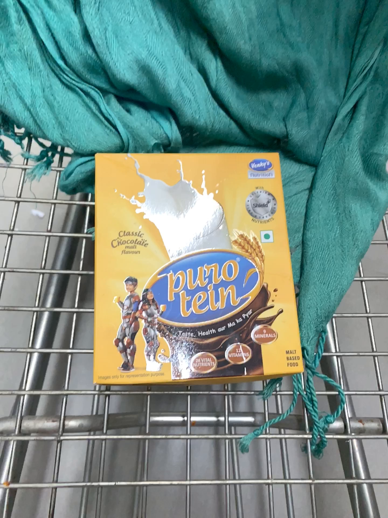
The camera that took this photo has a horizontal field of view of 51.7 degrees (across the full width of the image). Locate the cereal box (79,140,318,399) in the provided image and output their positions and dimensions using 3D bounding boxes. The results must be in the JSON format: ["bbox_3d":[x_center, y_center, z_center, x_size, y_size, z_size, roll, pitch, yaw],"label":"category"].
[{"bbox_3d":[-0.001,0.005,0.275,0.140,0.050,0.160,-1,77,-7],"label":"cereal box"}]
